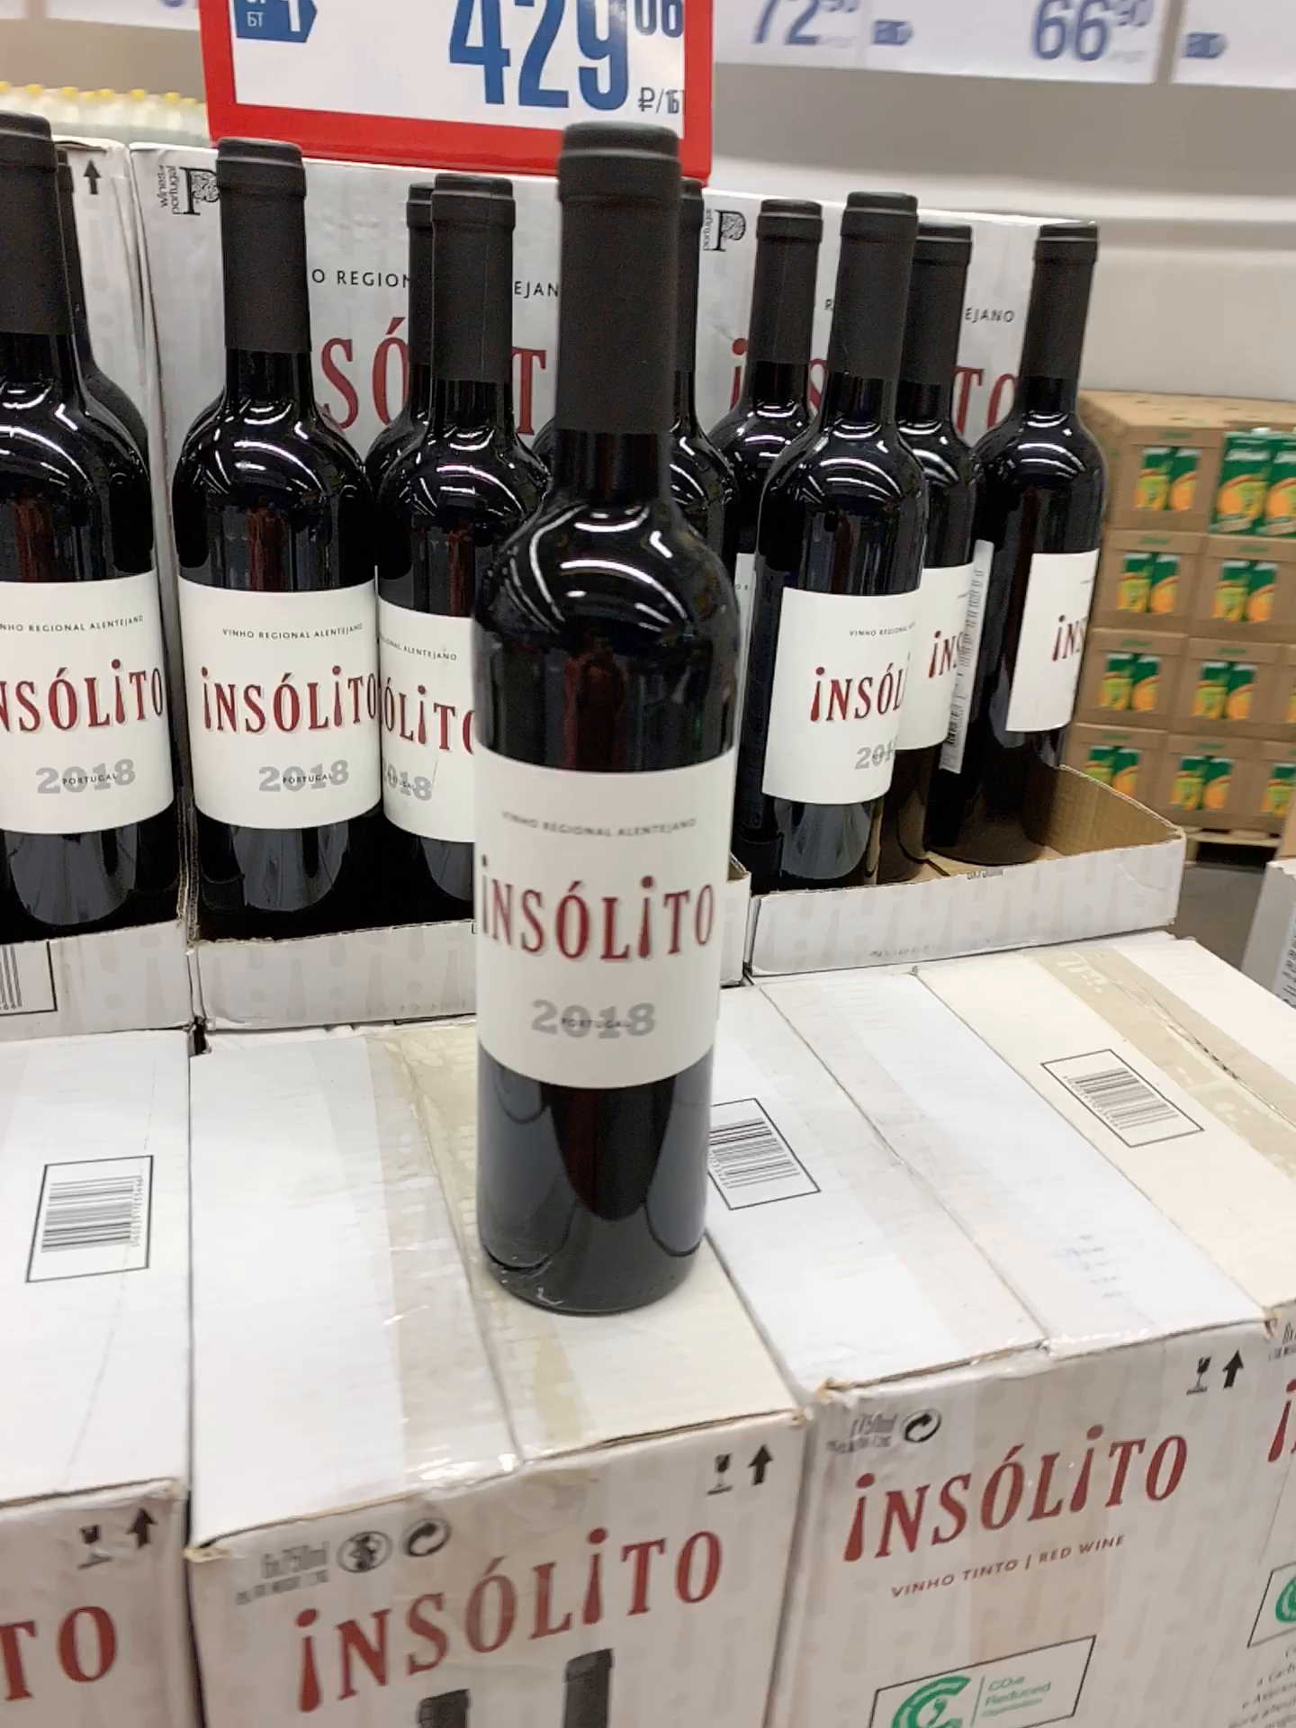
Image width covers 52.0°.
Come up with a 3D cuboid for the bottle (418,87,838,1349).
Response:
[{"bbox_3d":[-0.010,-0.025,0.361,0.077,0.310,0.080,4,23,-2],"label":"bottle"}]
